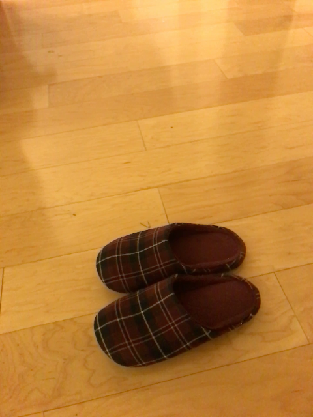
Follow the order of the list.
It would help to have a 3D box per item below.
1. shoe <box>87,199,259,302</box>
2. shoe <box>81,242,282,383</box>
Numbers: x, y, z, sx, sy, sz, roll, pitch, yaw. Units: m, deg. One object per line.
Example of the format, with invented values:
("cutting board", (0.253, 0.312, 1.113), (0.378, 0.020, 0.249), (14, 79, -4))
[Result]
("shoe", (0.021, 0.066, 0.574), (0.260, 0.050, 0.121), (-10, 50, -6))
("shoe", (0.034, 0.150, 0.521), (0.270, 0.050, 0.121), (-16, 51, -11))
